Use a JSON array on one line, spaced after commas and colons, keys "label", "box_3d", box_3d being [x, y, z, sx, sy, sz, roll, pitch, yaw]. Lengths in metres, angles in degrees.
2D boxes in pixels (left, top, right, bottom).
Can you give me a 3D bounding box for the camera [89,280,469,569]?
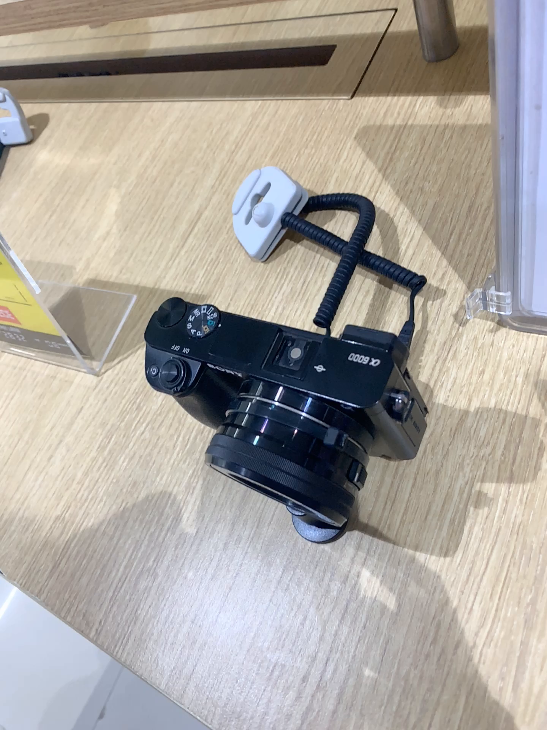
[{"label": "camera", "box_3d": [0.007, 0.025, 0.253, 0.130, 0.090, 0.070, 14, 70, 31]}]
